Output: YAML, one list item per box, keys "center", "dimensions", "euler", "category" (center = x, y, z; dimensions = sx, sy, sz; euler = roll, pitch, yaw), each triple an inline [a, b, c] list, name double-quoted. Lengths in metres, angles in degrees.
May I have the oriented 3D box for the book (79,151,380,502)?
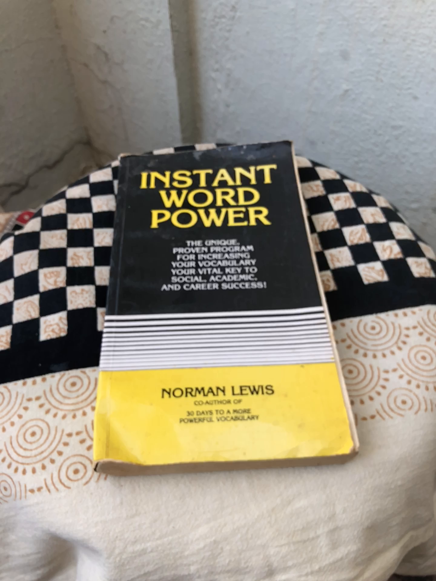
- center: [-0.001, -0.004, 0.377]
  dimensions: [0.160, 0.040, 0.301]
  euler: [-3, 47, -2]
  category: "book"
